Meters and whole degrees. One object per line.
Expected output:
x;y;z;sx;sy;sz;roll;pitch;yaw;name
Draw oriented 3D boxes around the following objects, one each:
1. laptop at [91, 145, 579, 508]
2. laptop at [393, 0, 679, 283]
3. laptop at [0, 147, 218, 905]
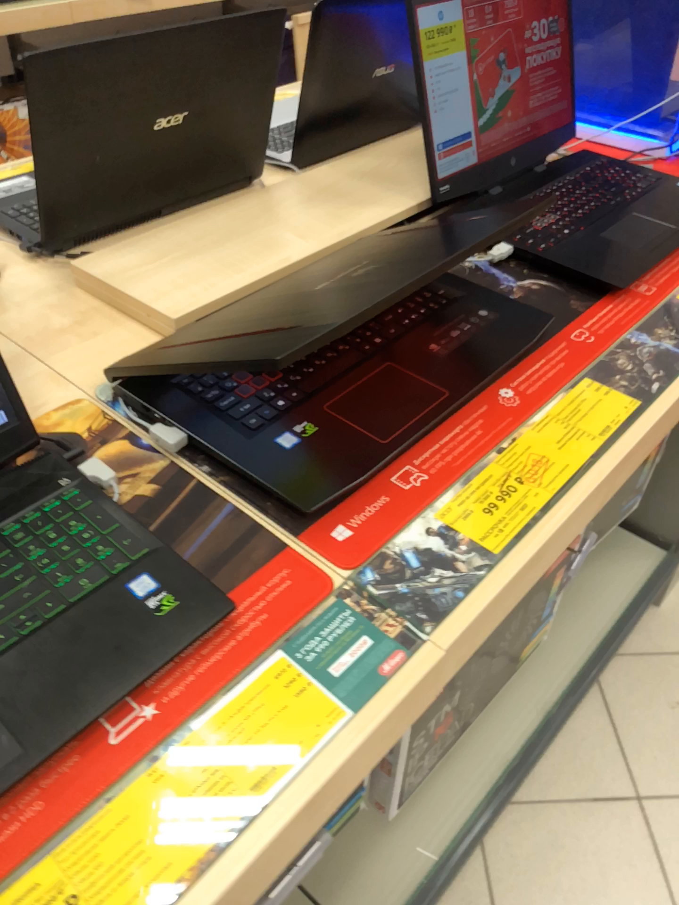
0.015;-0.164;0.760;0.261;0.124;0.420;30;48;28;laptop
0.349;-0.478;1.034;0.356;0.250;0.378;33;49;28;laptop
-0.320;0.023;0.438;0.343;0.230;0.351;32;47;29;laptop
